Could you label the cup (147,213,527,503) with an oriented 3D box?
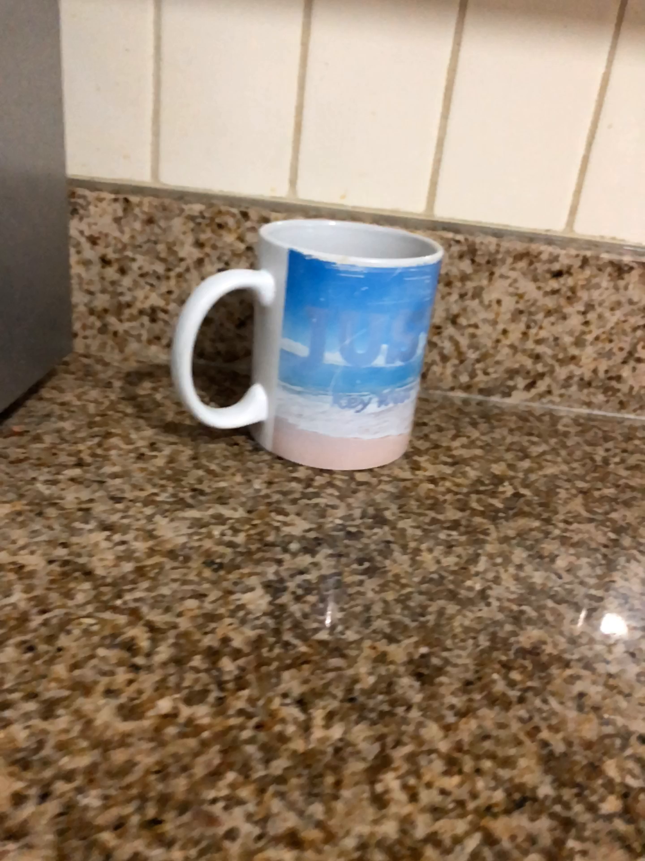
[{"bbox_3d":[0.001,-0.040,0.315,0.130,0.090,0.090,-8,27,-29],"label":"cup"}]
